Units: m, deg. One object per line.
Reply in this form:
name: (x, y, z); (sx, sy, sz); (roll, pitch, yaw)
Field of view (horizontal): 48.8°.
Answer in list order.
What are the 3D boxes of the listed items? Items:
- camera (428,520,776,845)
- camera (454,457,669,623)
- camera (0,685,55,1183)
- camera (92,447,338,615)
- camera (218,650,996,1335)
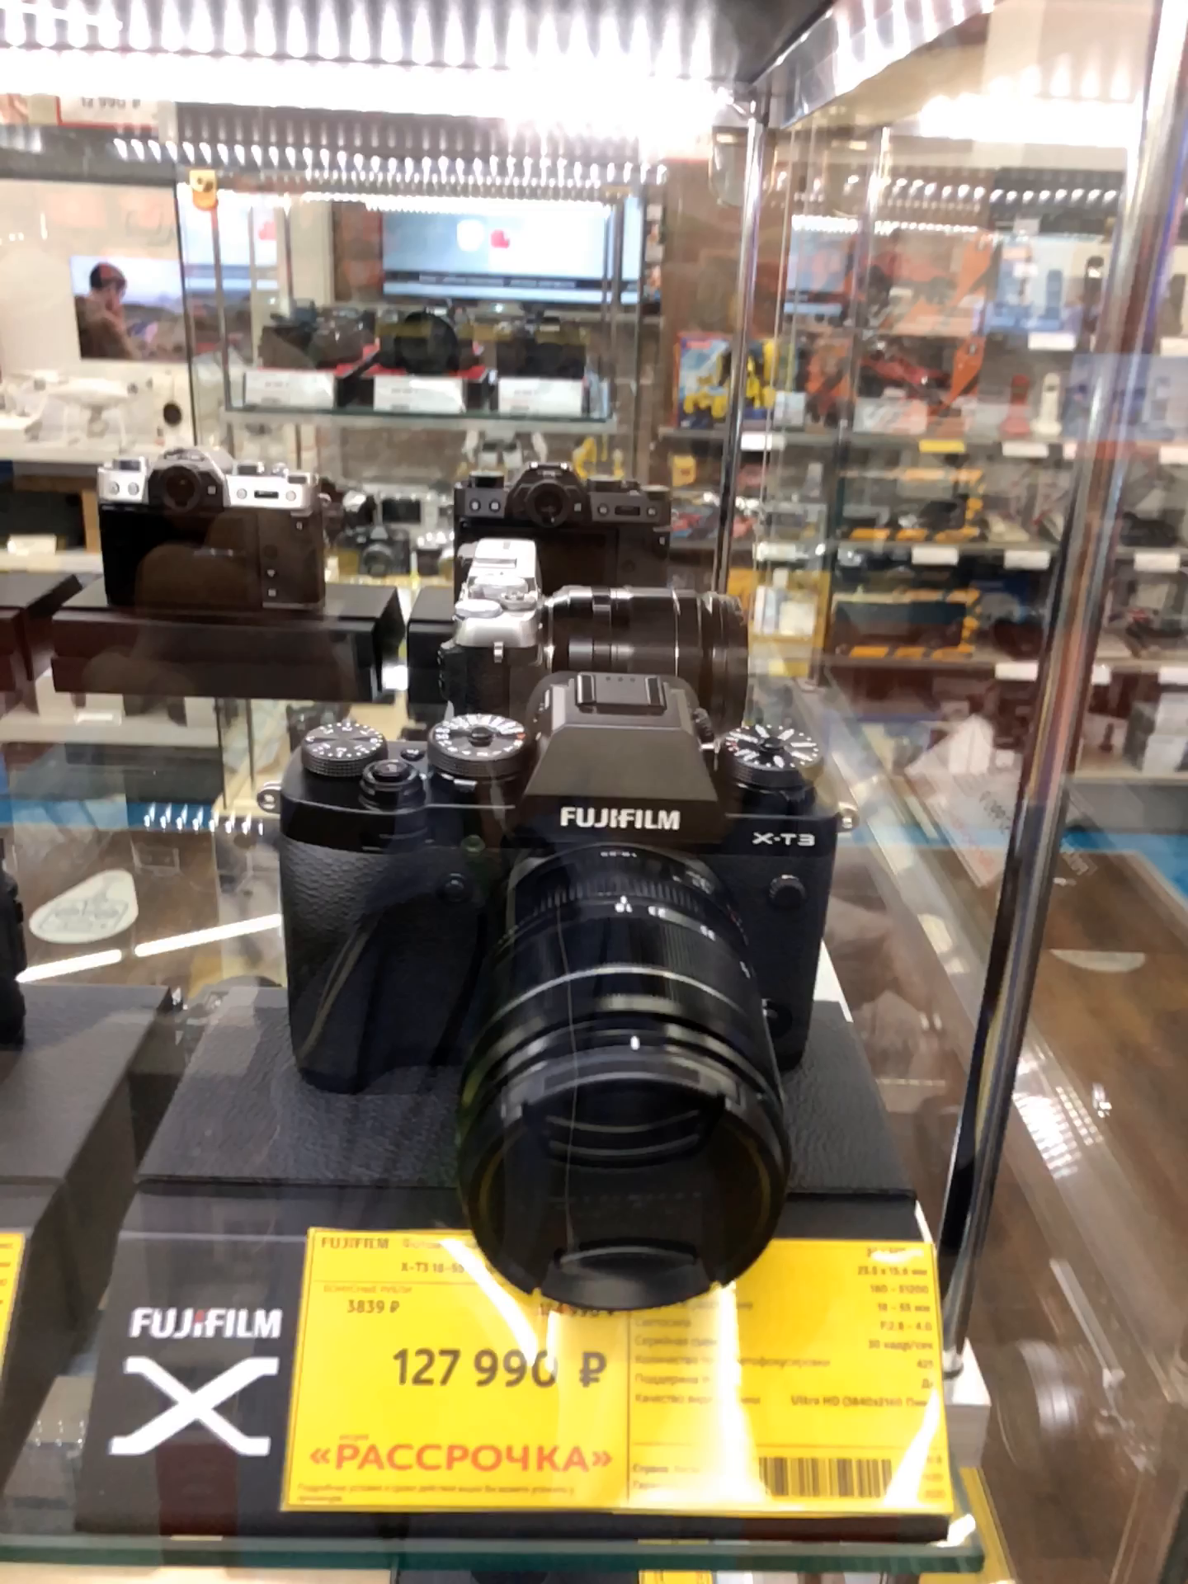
camera: (0.001, -0.048, 0.507); (0.115, 0.088, 0.126); (2, 22, -1)
camera: (-0.017, -0.136, 0.706); (0.109, 0.074, 0.056); (3, 22, 1)
camera: (-0.202, 0.030, 0.295); (0.125, 0.088, 0.066); (1, 22, -2)
camera: (-0.197, -0.139, 0.694); (0.109, 0.074, 0.056); (3, 22, 1)
camera: (-0.002, 0.035, 0.290); (0.129, 0.100, 0.120); (1, 22, -4)
